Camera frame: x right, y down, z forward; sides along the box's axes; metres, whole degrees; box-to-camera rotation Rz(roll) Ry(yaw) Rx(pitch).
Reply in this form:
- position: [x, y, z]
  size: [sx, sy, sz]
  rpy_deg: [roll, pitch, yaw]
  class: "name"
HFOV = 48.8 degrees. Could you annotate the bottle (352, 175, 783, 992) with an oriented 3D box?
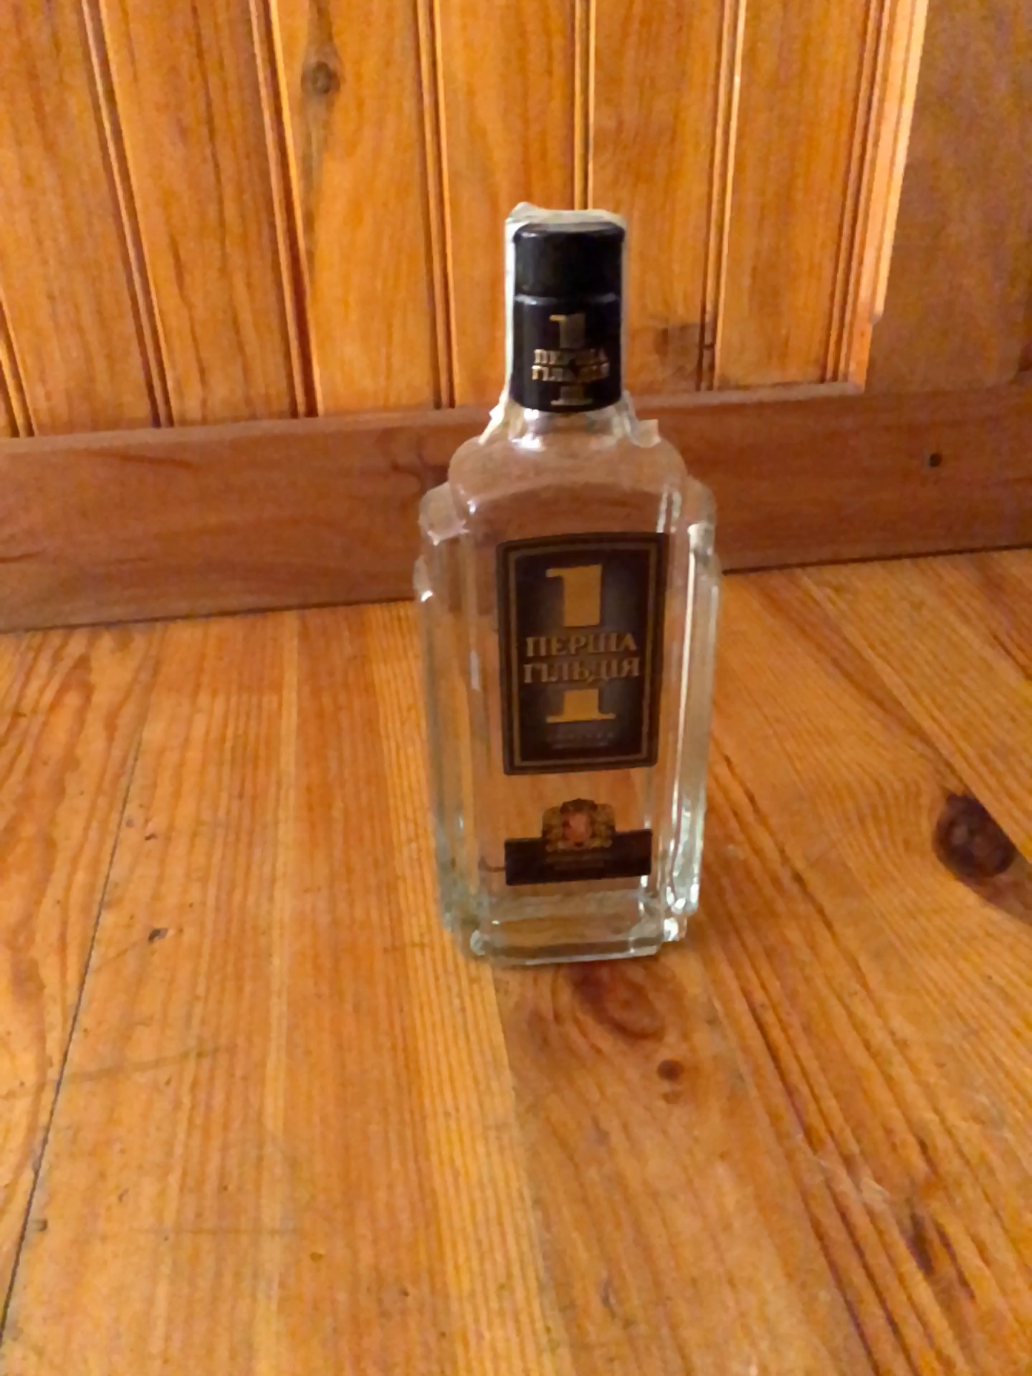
- position: [0.014, -0.019, 0.354]
  size: [0.100, 0.249, 0.060]
  rpy_deg: [-2, 32, -2]
  class: "bottle"
